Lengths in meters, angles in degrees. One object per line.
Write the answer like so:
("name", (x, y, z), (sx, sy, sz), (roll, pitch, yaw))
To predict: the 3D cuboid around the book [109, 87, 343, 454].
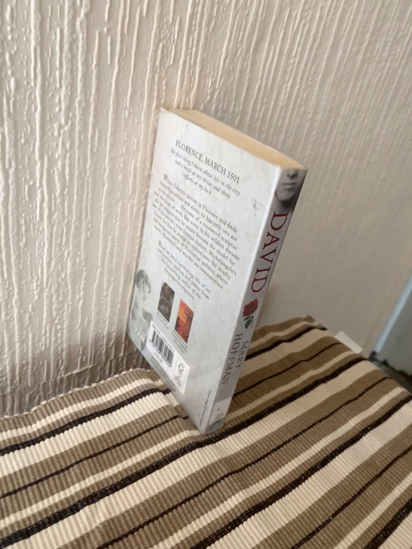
("book", (-0.011, -0.007, 0.330), (0.040, 0.218, 0.171), (-9, 36, -35))
